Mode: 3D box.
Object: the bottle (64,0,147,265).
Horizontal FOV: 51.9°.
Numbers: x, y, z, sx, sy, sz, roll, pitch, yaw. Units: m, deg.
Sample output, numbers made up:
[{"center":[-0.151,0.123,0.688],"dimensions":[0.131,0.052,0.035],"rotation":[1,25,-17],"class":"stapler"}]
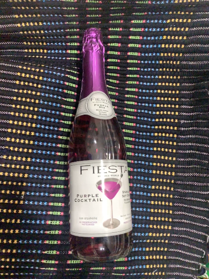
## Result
[{"center":[-0.013,-0.026,0.300],"dimensions":[0.080,0.080,0.330],"rotation":[0,75,-13],"class":"bottle"}]
